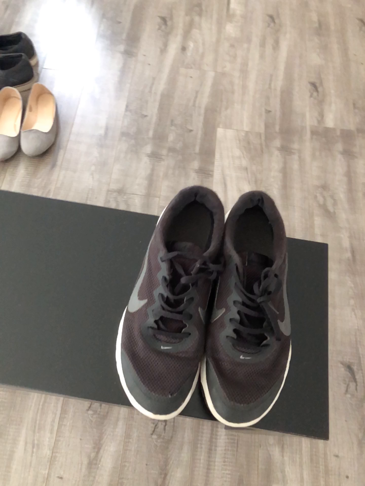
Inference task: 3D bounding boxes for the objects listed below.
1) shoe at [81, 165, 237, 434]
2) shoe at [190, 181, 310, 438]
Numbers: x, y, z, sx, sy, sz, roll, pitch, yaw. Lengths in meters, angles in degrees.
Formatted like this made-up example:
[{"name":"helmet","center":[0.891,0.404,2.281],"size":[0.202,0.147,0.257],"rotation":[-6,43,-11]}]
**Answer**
[{"name":"shoe","center":[-0.018,0.062,0.478],"size":[0.110,0.100,0.280],"rotation":[12,68,1]},{"name":"shoe","center":[0.083,0.078,0.498],"size":[0.110,0.110,0.280],"rotation":[8,66,-1]}]
